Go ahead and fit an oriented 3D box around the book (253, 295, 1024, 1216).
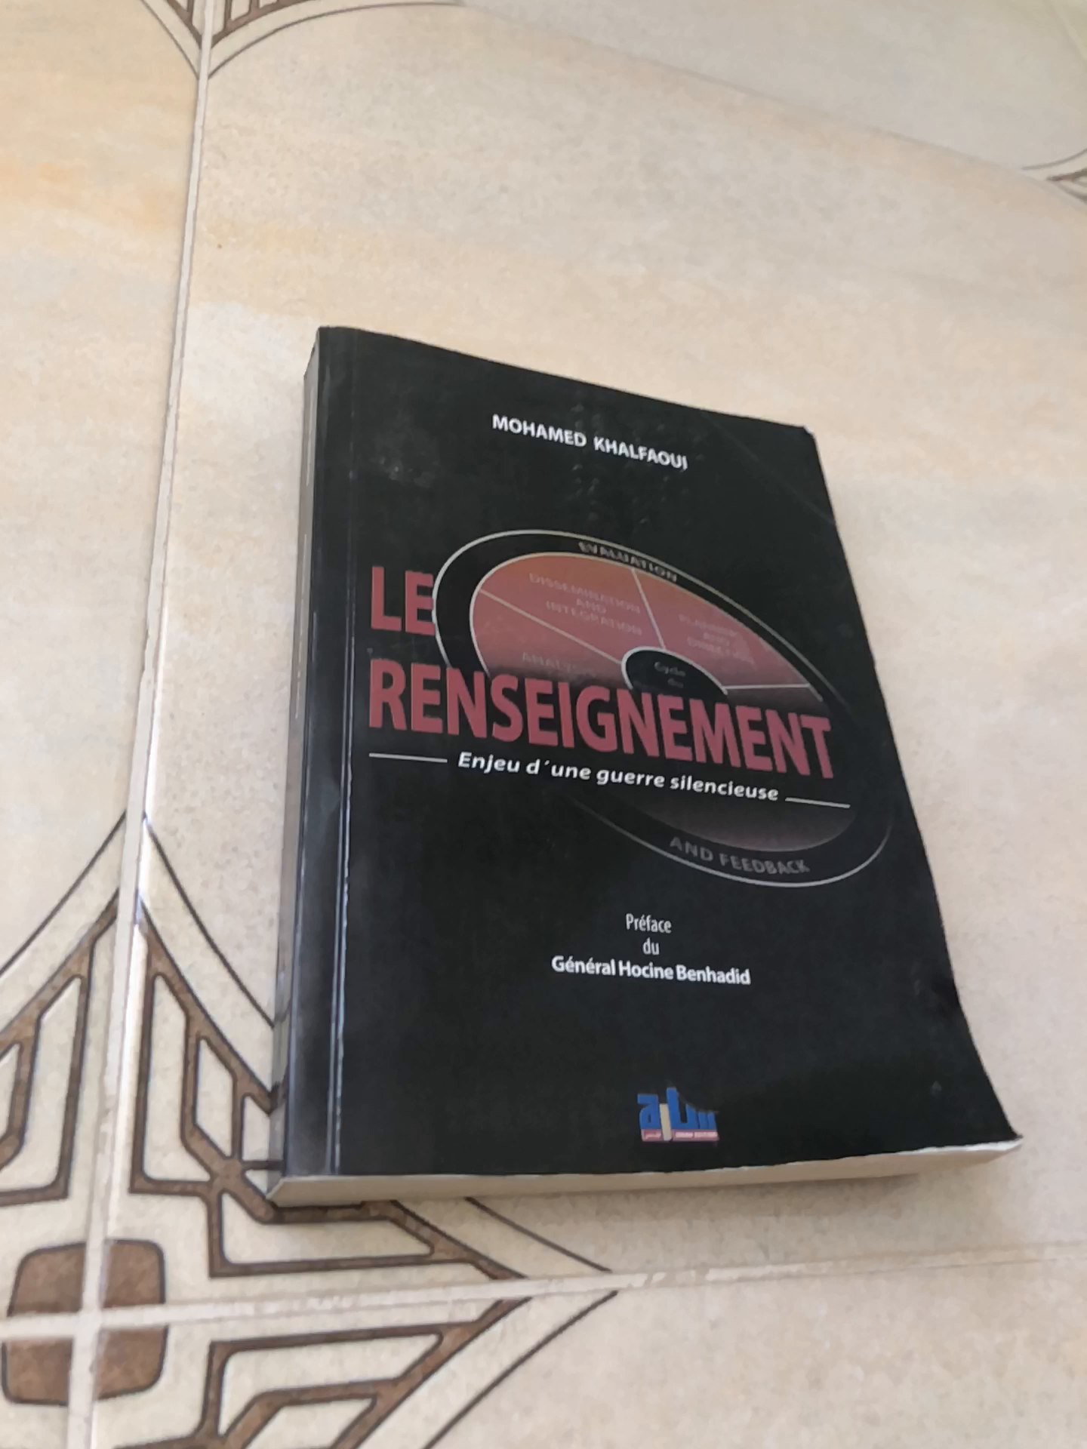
[{"bbox_3d":[0.014,0.001,0.279,0.146,0.037,0.201,7,58,-21],"label":"book"}]
